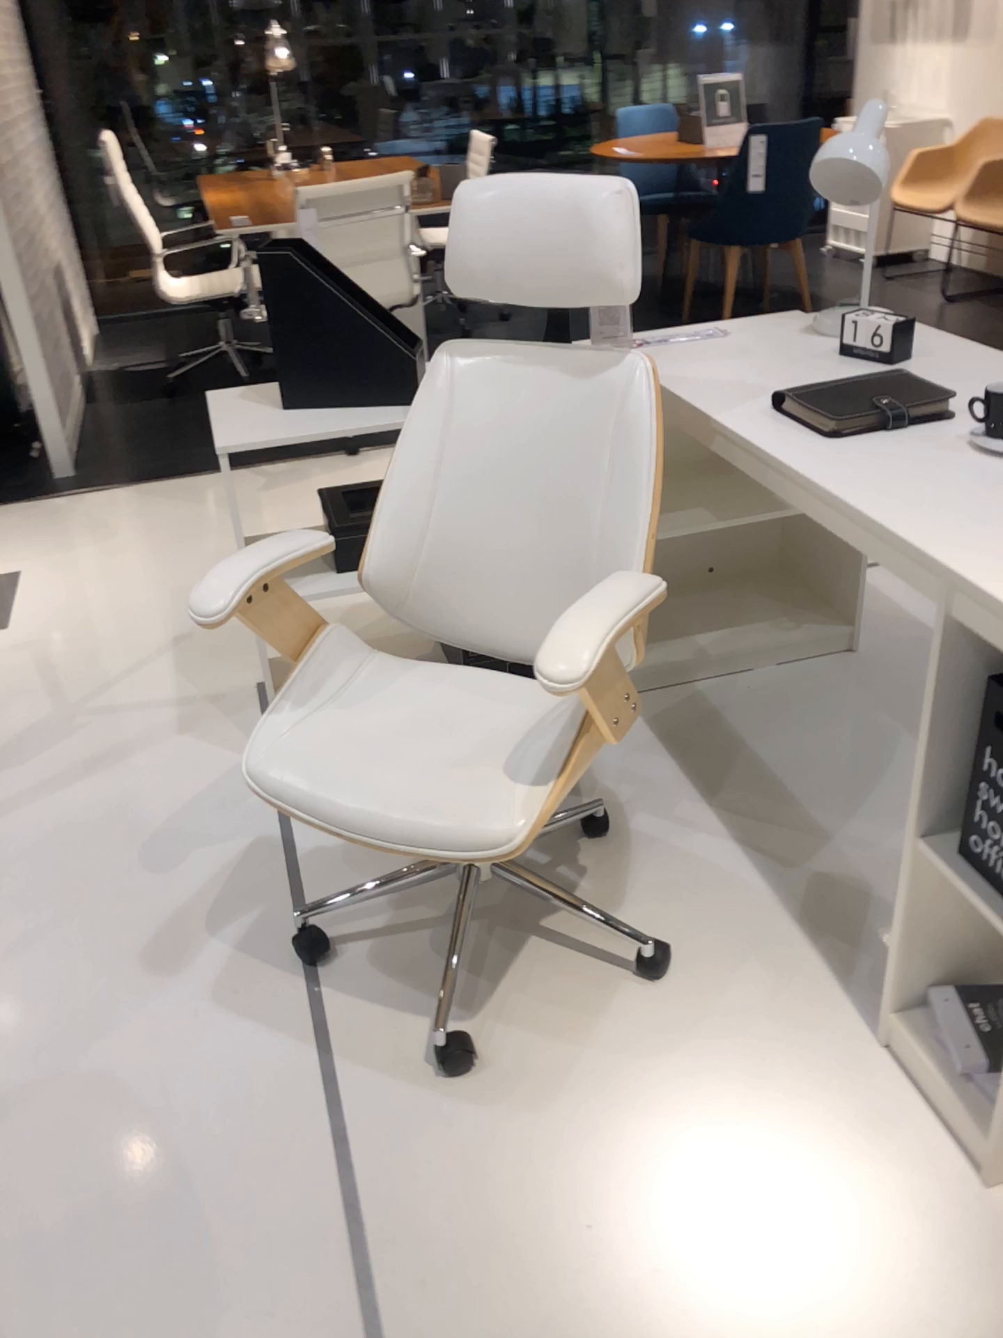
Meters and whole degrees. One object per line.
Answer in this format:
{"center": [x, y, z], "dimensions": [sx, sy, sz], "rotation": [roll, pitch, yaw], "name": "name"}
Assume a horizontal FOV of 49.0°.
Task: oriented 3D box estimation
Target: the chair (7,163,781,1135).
{"center": [-0.051, -0.086, 1.605], "dimensions": [0.671, 1.101, 0.704], "rotation": [11, 33, 26], "name": "chair"}
